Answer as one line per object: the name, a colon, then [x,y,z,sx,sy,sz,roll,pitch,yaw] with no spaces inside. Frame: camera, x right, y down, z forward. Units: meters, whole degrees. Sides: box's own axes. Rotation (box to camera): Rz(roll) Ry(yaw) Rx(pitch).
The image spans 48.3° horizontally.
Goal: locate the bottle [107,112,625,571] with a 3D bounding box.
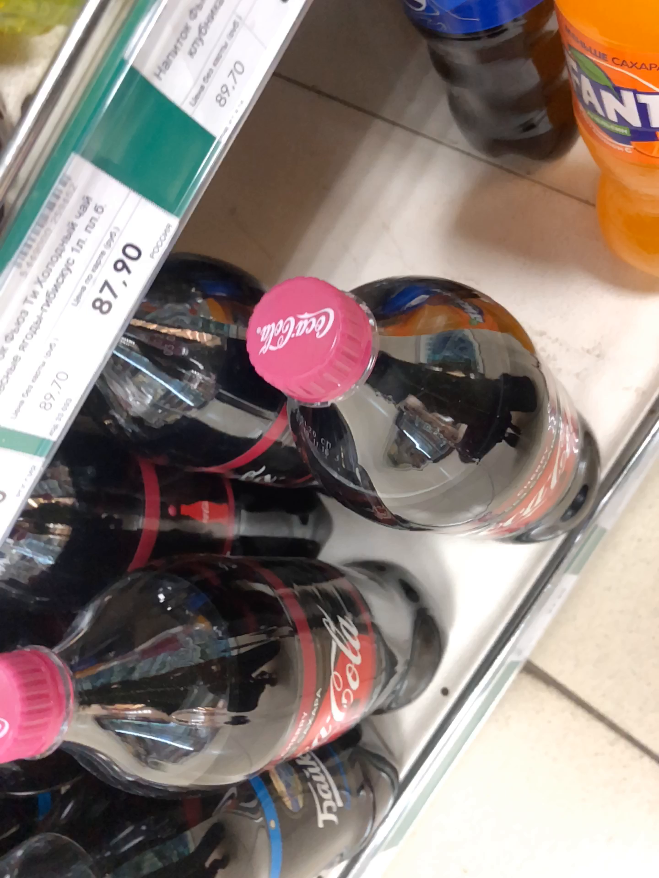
bottle: [0.054,-0.006,0.319,0.088,0.296,0.092,-5,79,24]
